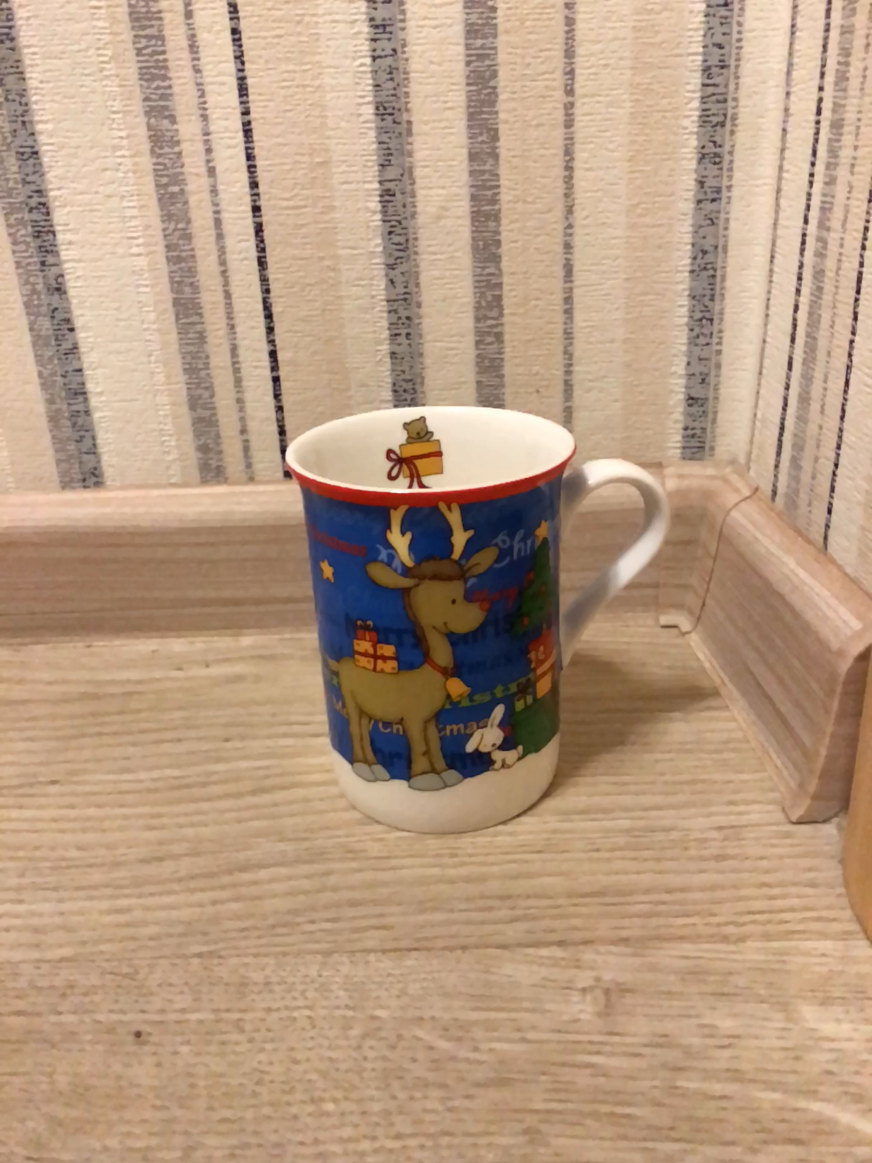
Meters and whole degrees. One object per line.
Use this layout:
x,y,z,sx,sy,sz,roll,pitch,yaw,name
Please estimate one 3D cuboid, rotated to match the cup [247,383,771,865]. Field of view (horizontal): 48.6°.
0.014,0.004,0.275,0.120,0.094,0.088,-7,24,-9,cup
